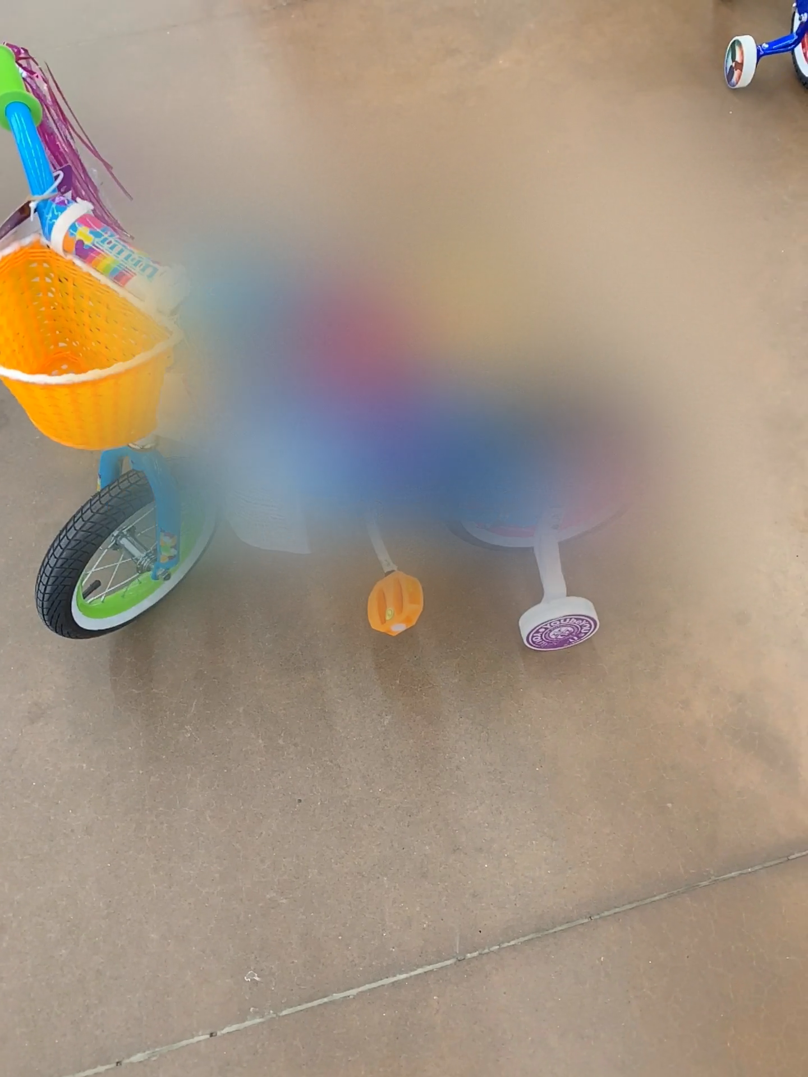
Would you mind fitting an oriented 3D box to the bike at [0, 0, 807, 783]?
[{"bbox_3d":[-0.096,-0.190,0.978,0.816,0.664,0.554,-15,55,-8],"label":"bike"}]
